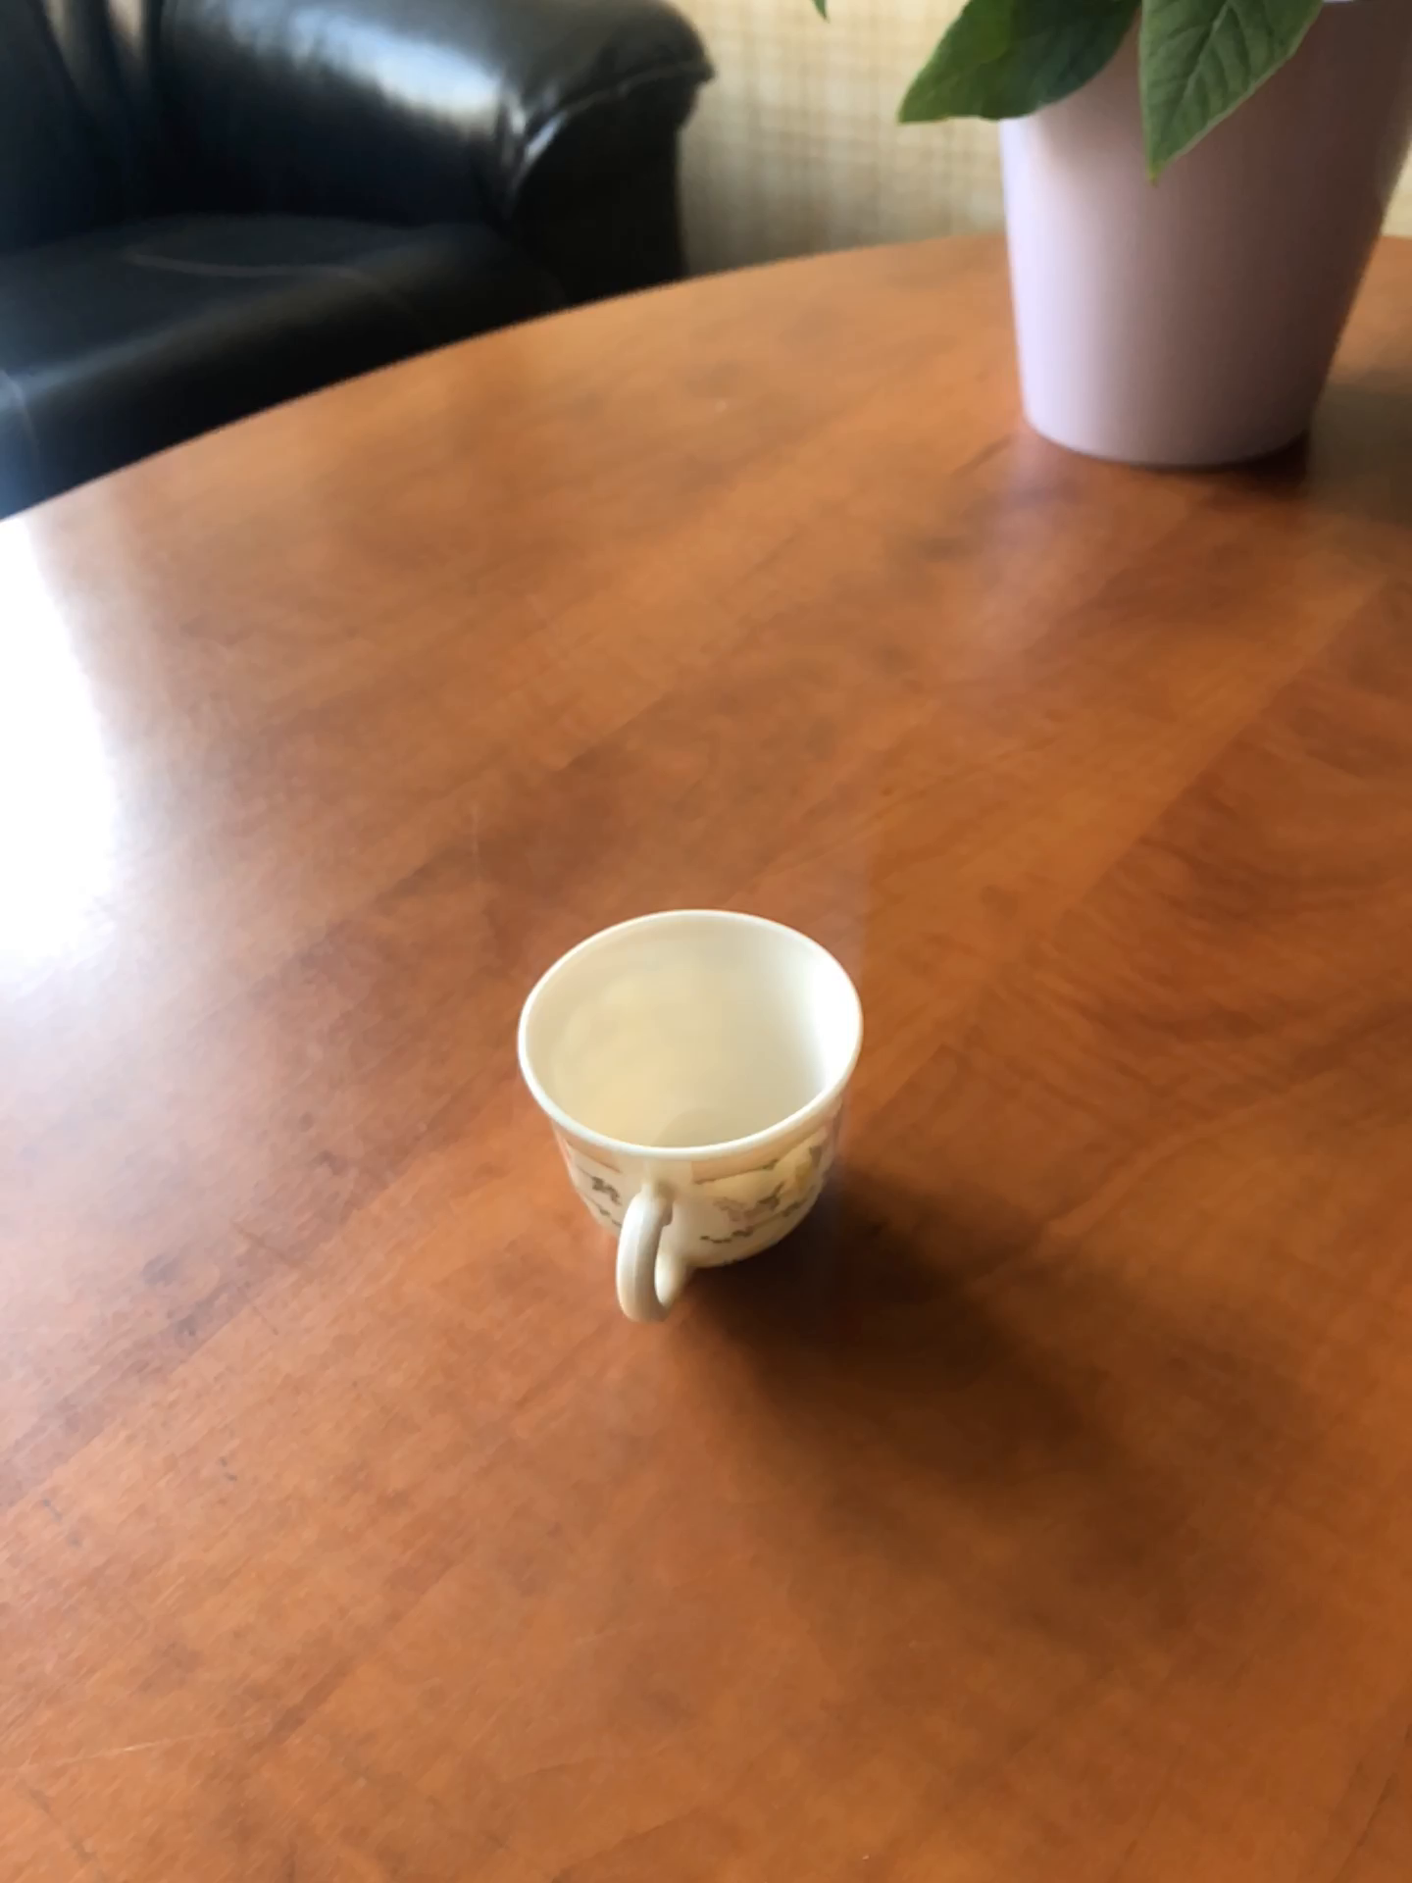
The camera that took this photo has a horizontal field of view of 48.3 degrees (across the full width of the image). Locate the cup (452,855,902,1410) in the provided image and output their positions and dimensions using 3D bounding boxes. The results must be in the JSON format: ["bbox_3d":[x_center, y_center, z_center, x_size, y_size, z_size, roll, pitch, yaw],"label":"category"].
[{"bbox_3d":[0.000,0.031,0.286,0.063,0.048,0.084,4,42,10],"label":"cup"}]
